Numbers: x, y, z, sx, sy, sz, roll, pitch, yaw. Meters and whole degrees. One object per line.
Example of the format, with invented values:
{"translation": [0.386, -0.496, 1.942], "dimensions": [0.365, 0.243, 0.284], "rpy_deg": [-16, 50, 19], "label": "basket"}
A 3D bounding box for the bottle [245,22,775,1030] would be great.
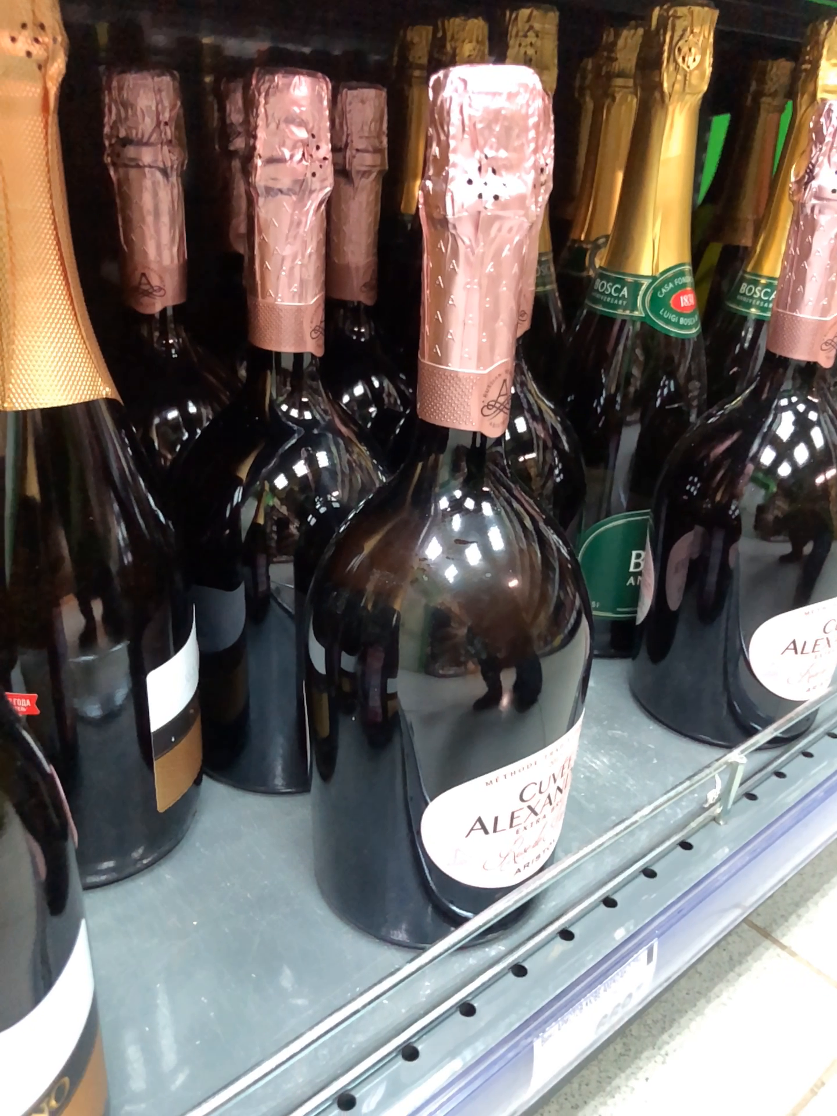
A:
{"translation": [0.020, -0.007, 0.301], "dimensions": [0.090, 0.279, 0.110], "rpy_deg": [24, 32, 38], "label": "bottle"}
